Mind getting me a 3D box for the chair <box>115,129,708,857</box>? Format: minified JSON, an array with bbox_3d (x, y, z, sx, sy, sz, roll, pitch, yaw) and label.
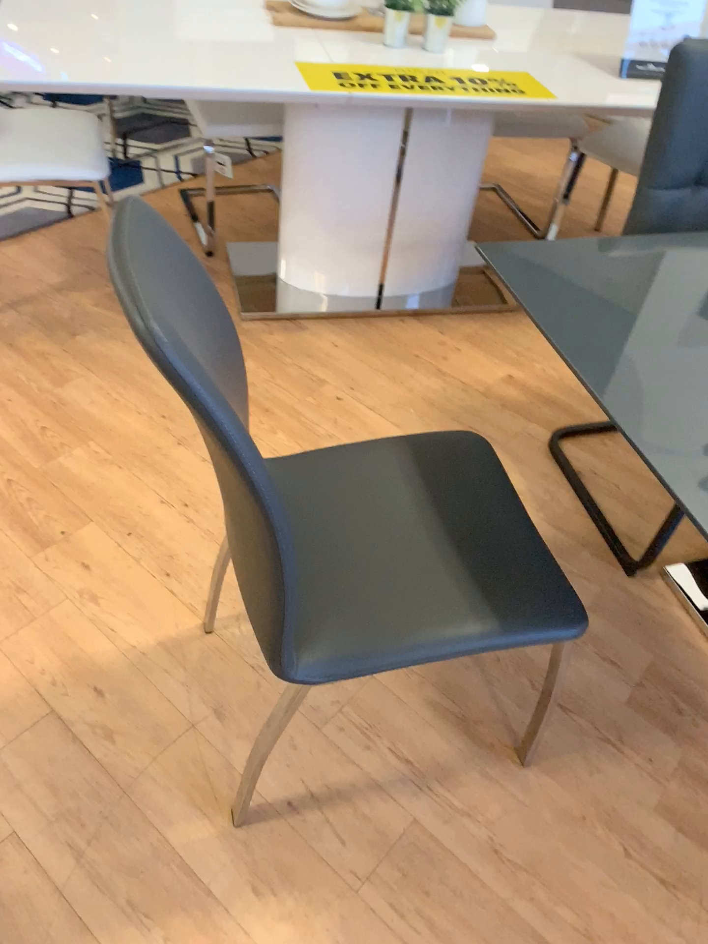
[{"bbox_3d":[0.039,0.068,1.067,0.631,0.911,0.514,-6,46,-15],"label":"chair"}]
